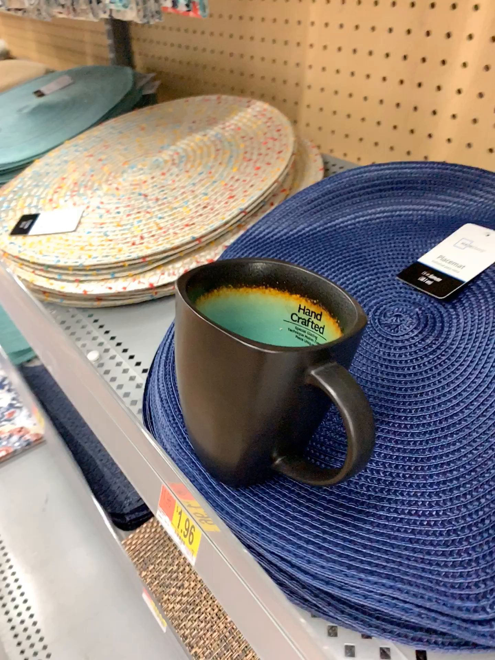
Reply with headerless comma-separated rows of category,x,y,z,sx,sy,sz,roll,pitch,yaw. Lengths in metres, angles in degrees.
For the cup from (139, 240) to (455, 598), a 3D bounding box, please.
cup,0.012,0.034,0.272,0.090,0.109,0.131,-15,37,-30
